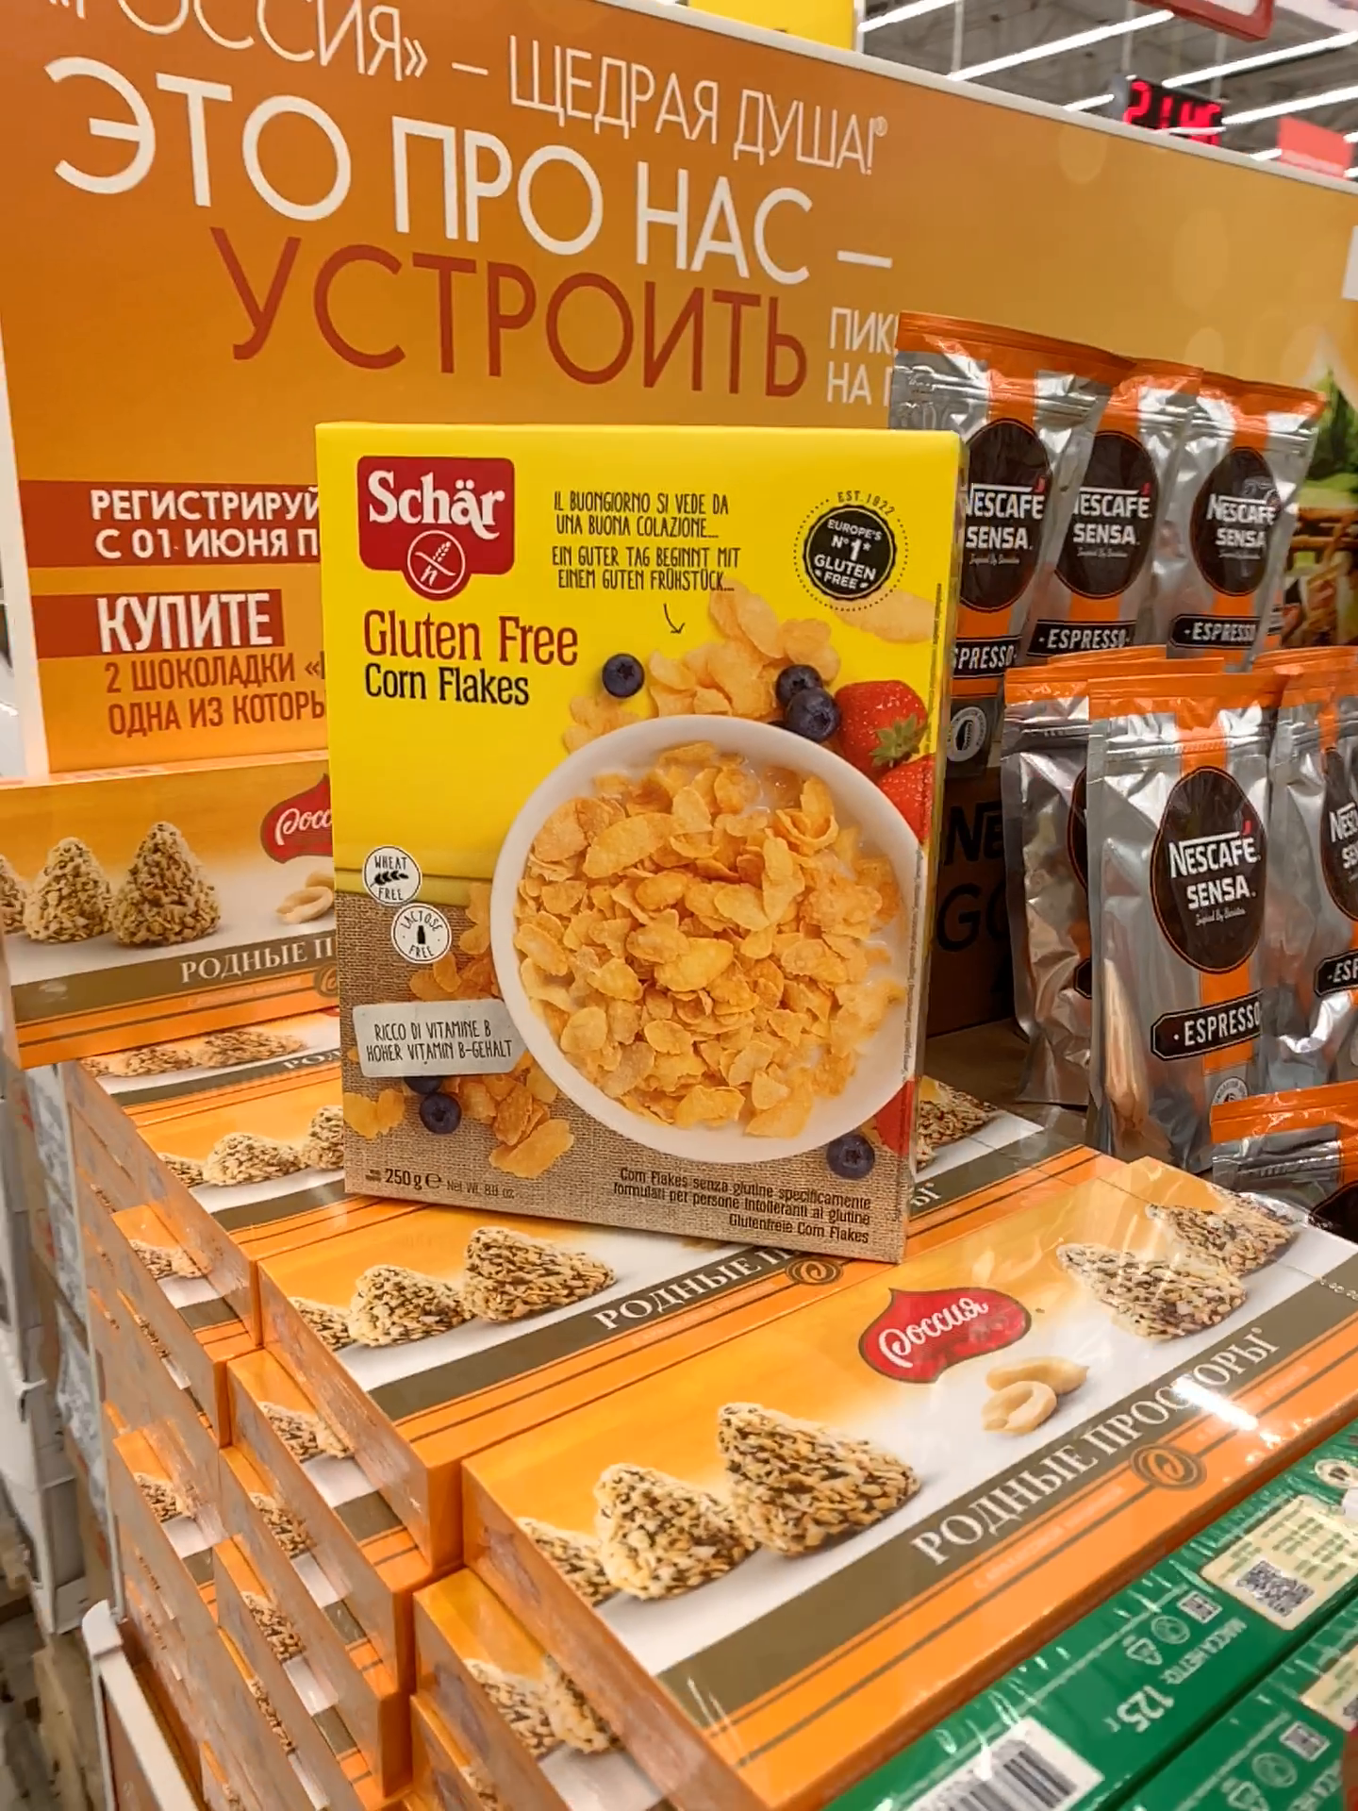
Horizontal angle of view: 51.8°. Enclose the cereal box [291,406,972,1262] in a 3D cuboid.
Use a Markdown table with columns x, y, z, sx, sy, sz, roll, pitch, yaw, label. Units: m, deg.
| x | y | z | sx | sy | sz | roll | pitch | yaw | label |
| --- | --- | --- | --- | --- | --- | --- | --- | --- | --- |
| -0.015 | -0.026 | 0.463 | 0.200 | 0.259 | 0.060 | 4 | 16 | 12 | cereal box |
